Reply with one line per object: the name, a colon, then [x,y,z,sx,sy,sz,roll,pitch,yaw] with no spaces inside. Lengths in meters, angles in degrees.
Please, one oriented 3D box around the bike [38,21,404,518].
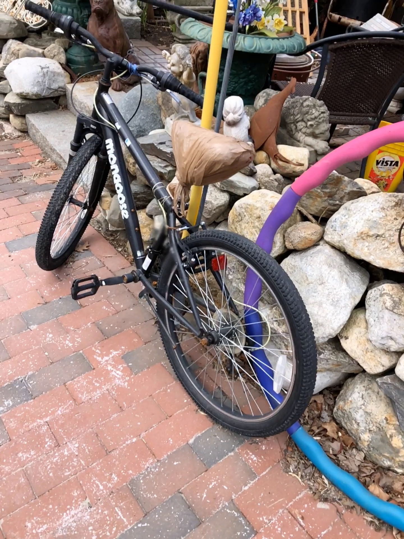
bike: [-0.033,-0.199,1.499,0.634,0.873,1.414,-15,45,-28]
